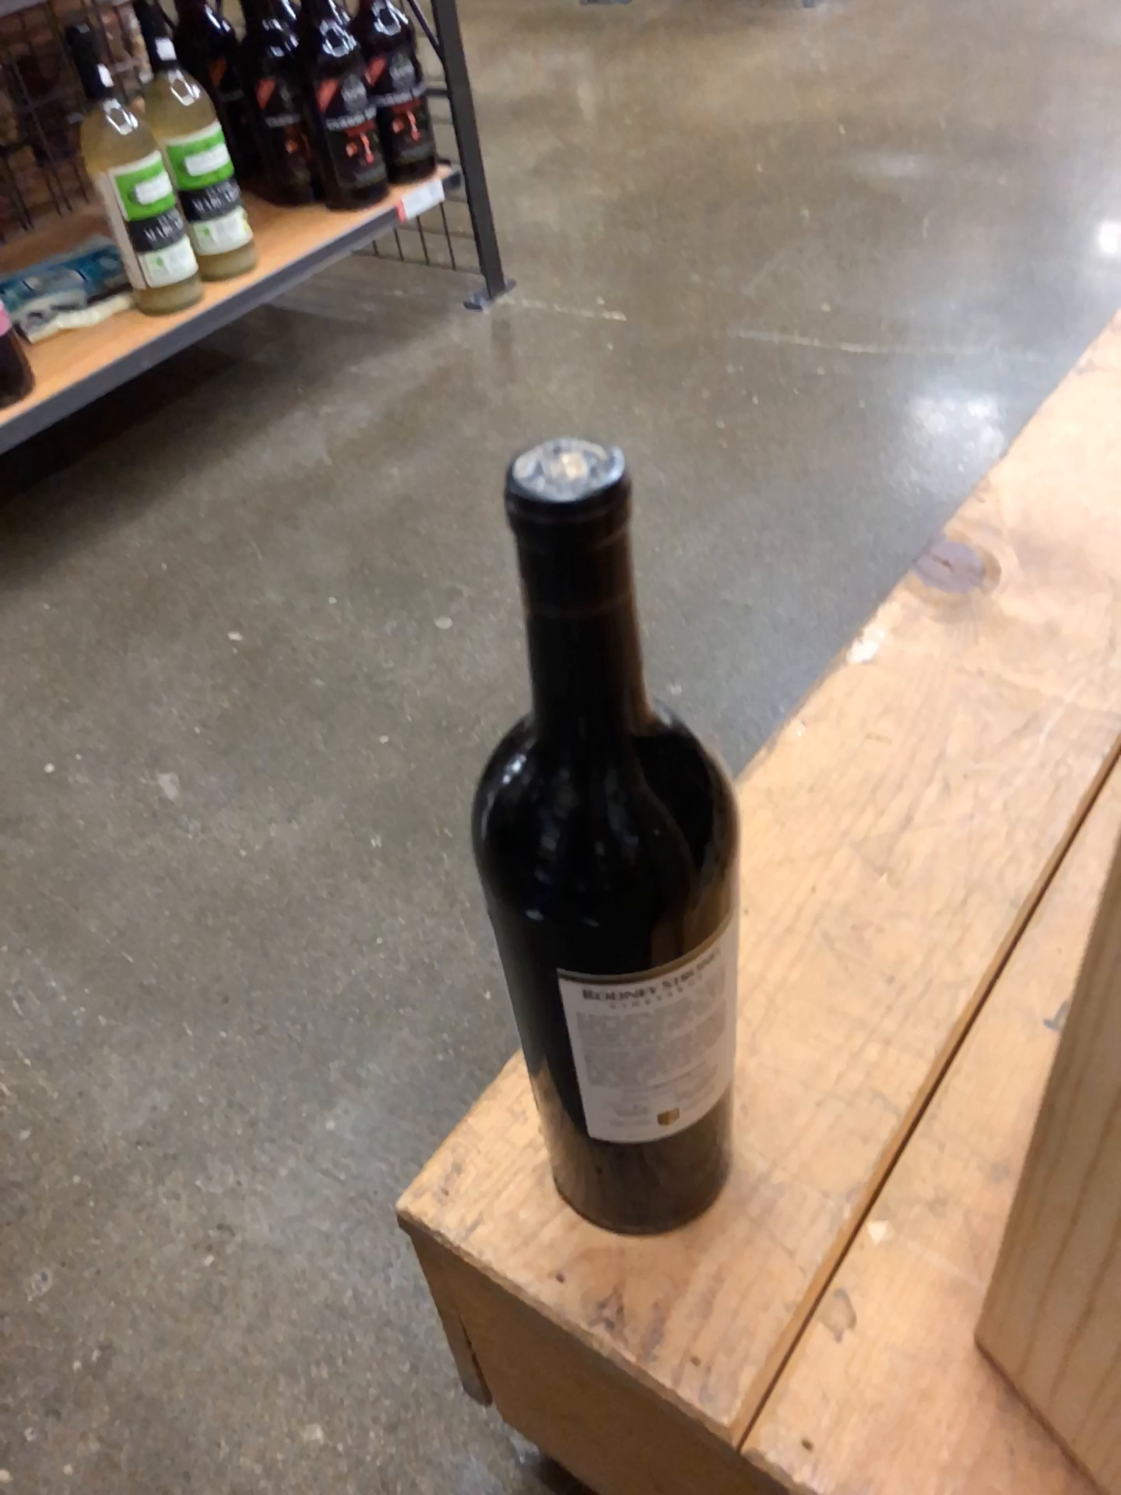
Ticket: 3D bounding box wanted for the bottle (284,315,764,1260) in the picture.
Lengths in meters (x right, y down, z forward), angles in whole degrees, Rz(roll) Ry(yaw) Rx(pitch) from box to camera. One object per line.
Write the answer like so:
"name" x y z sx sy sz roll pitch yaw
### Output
"bottle" 0.007 0.039 0.379 0.080 0.309 0.070 -27 46 -18
